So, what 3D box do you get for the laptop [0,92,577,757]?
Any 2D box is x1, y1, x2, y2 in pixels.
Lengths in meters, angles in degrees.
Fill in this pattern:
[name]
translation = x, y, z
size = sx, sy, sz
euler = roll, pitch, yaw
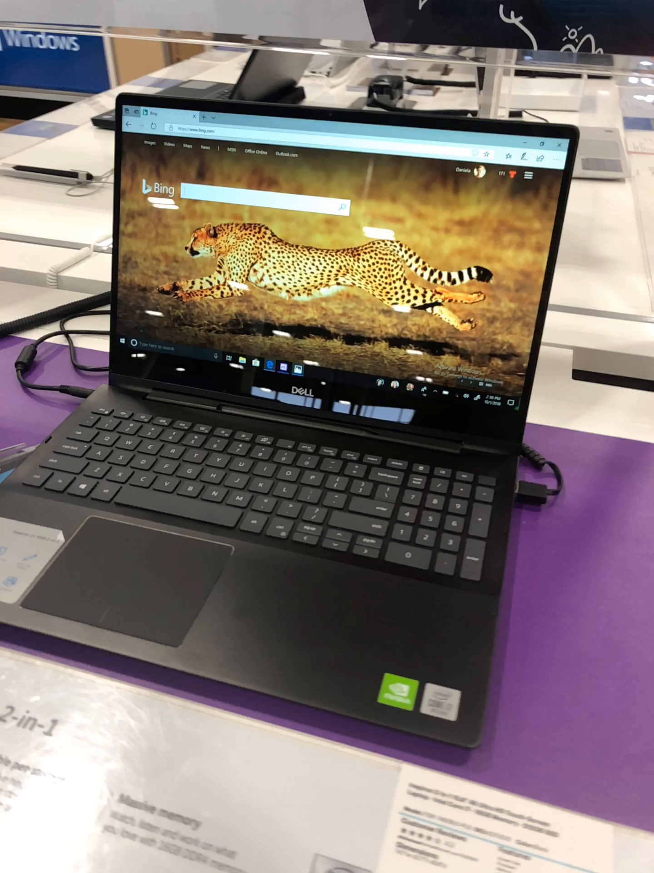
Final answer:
[laptop]
translation = -0.046, -0.055, 0.442
size = 0.341, 0.207, 0.325
euler = 10, 37, 13
